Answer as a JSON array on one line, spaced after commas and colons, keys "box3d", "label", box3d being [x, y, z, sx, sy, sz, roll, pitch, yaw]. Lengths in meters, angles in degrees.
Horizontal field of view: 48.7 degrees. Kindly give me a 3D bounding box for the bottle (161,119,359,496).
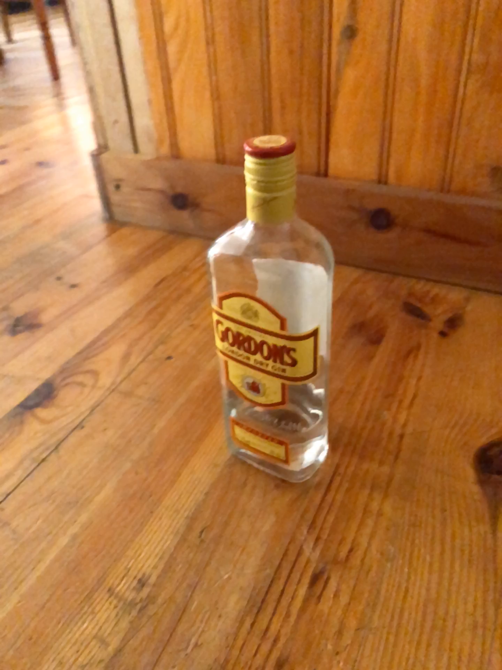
[{"box3d": [0.012, -0.009, 0.374, 0.090, 0.239, 0.060, 20, 43, 29], "label": "bottle"}]
